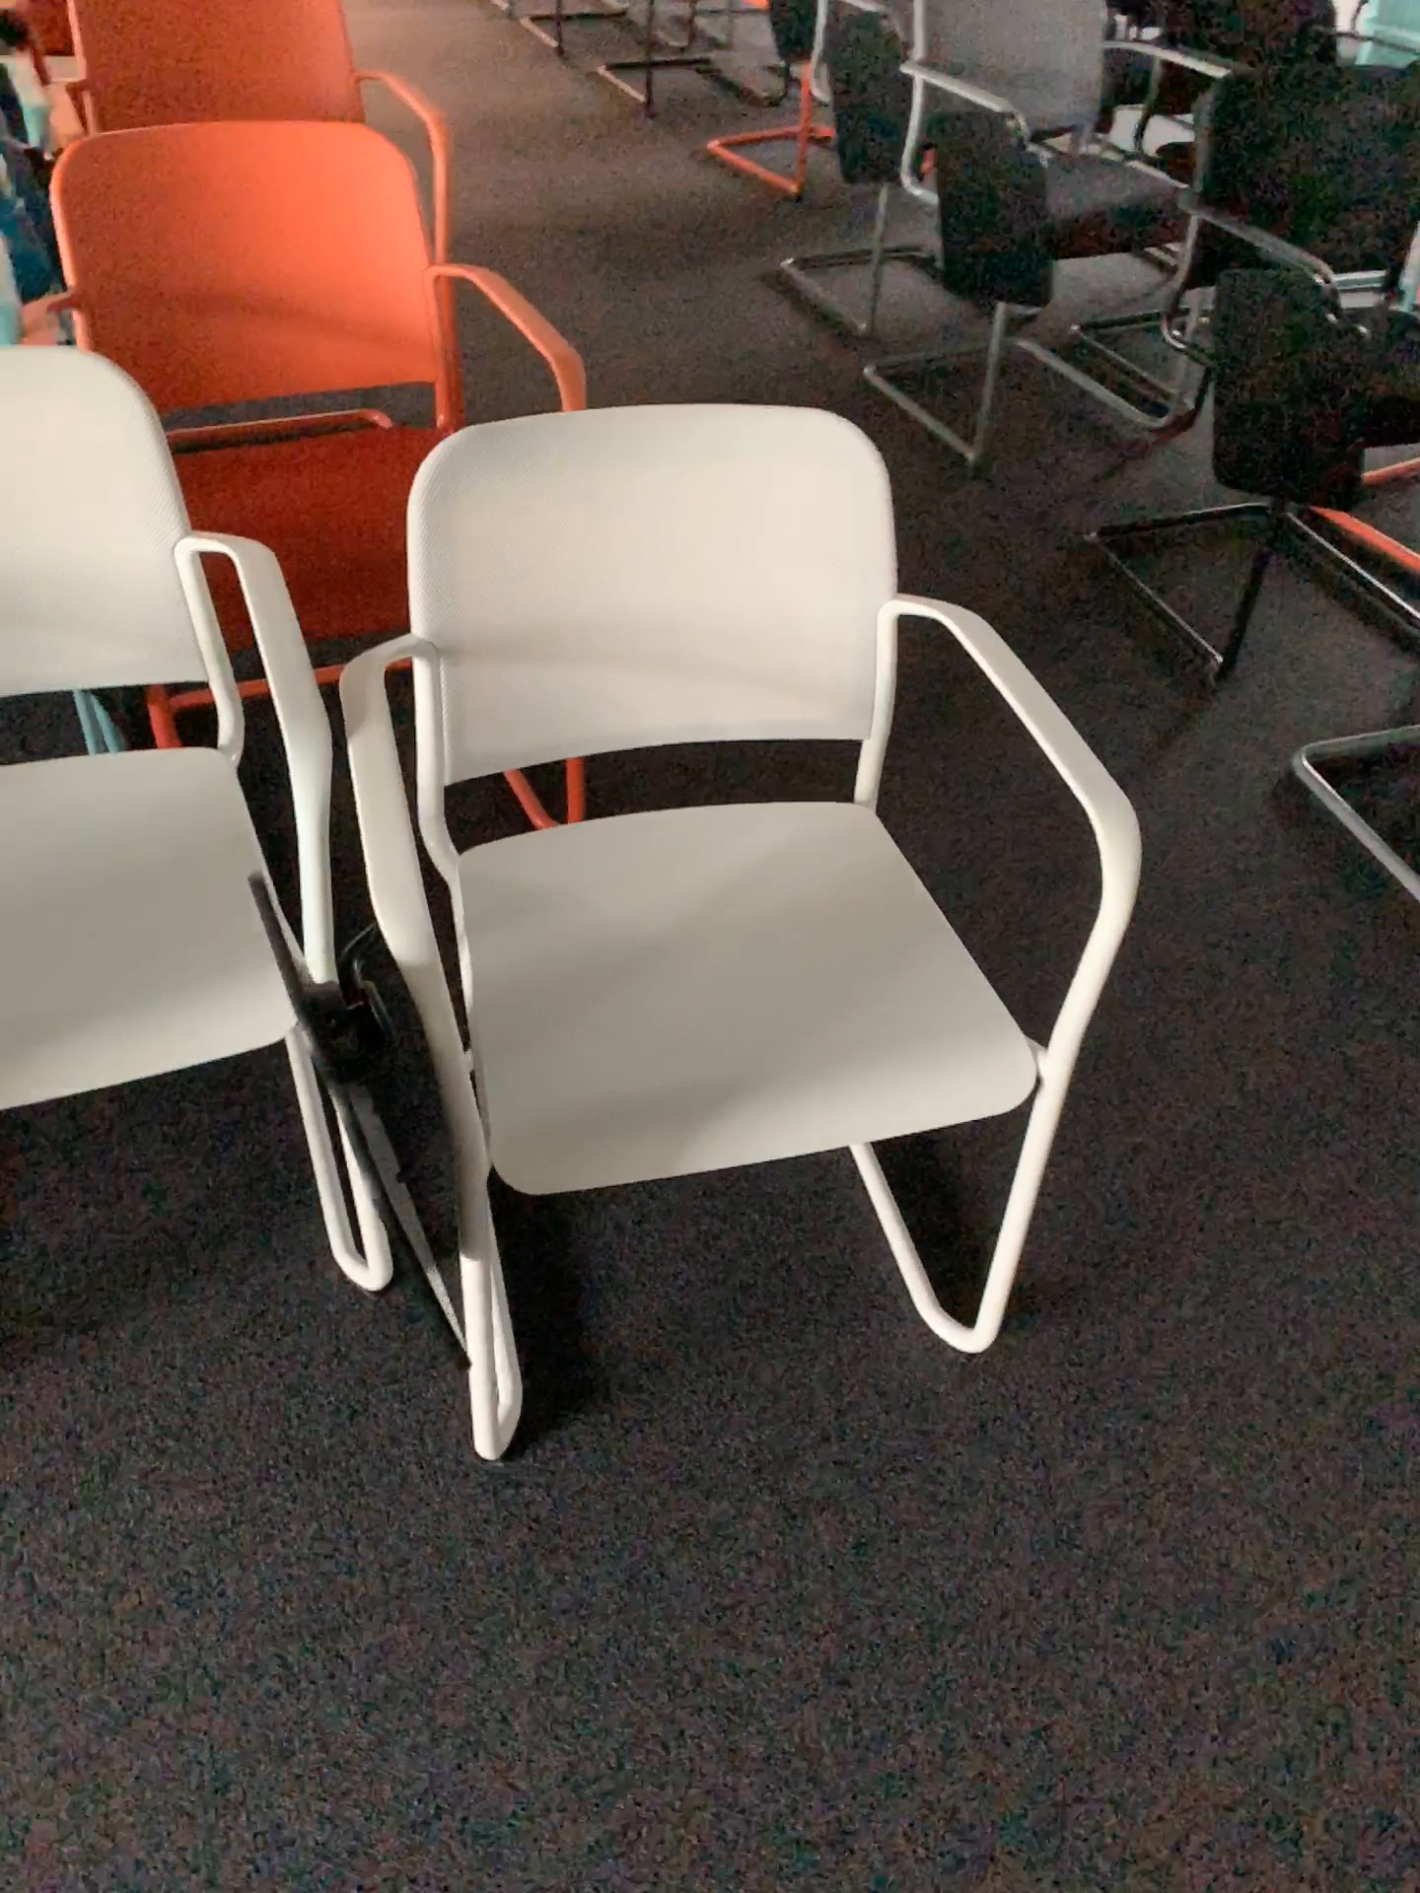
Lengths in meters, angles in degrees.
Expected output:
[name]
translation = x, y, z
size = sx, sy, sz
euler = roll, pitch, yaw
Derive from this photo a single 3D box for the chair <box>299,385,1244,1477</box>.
[chair]
translation = -0.019, -0.011, 1.323
size = 0.561, 0.756, 0.553
euler = -8, 45, -13
